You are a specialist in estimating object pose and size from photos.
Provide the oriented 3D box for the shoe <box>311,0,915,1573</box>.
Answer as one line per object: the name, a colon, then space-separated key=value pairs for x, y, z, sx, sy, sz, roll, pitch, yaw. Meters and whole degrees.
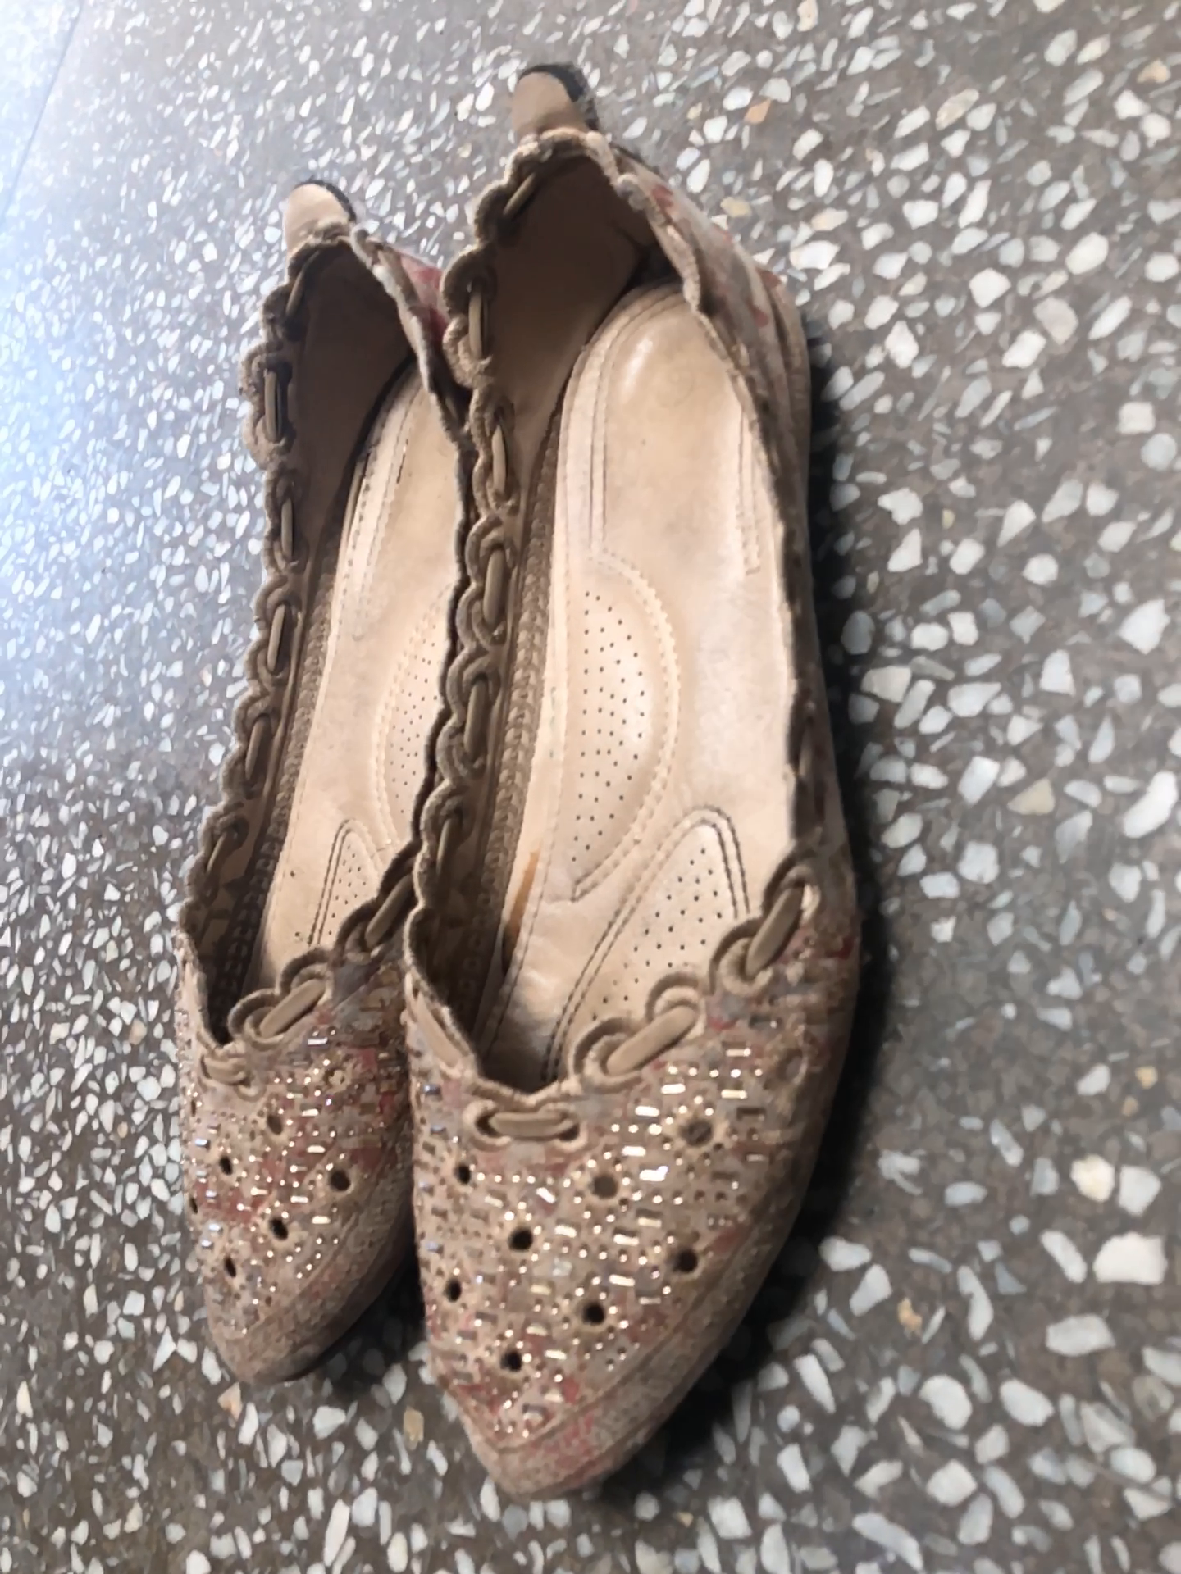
shoe: x=0.007 y=-0.008 z=0.251 sx=0.090 sy=0.040 sz=0.270 roll=-3 pitch=78 yaw=38

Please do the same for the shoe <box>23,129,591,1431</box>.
shoe: x=-0.064 y=-0.010 z=0.315 sx=0.090 sy=0.040 sz=0.280 roll=-3 pitch=74 yaw=38
